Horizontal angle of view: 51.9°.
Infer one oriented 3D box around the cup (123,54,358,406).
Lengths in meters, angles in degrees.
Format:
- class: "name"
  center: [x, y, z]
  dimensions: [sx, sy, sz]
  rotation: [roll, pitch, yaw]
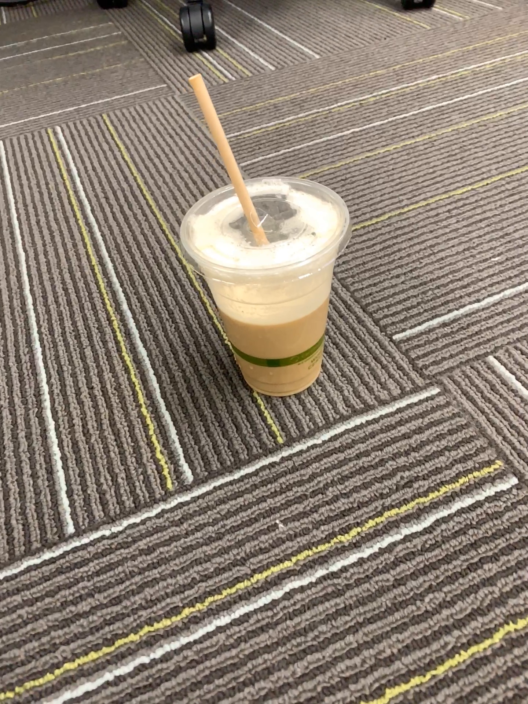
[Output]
- class: "cup"
  center: [0.002, -0.060, 0.322]
  dimensions: [0.100, 0.179, 0.090]
  rotation: [-1, 46, 8]
